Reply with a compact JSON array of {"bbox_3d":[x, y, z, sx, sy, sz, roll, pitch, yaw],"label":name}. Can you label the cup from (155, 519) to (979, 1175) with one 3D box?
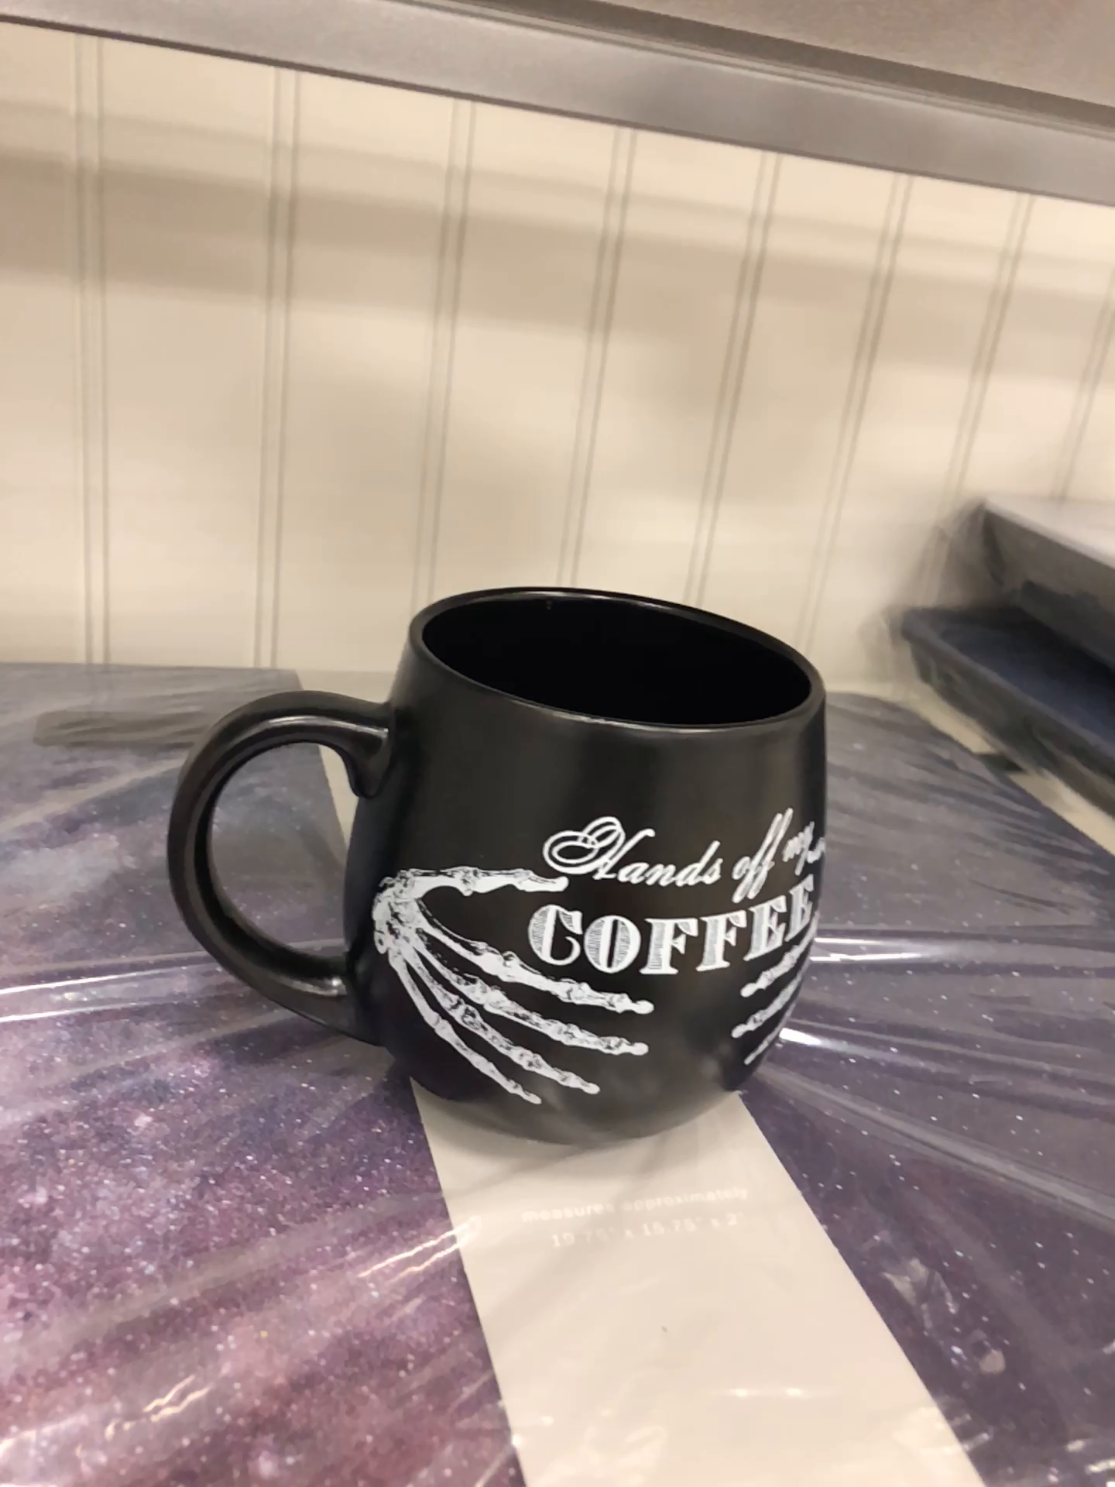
[{"bbox_3d":[-0.007,0.019,0.273,0.140,0.099,0.101,4,23,-10],"label":"cup"}]
